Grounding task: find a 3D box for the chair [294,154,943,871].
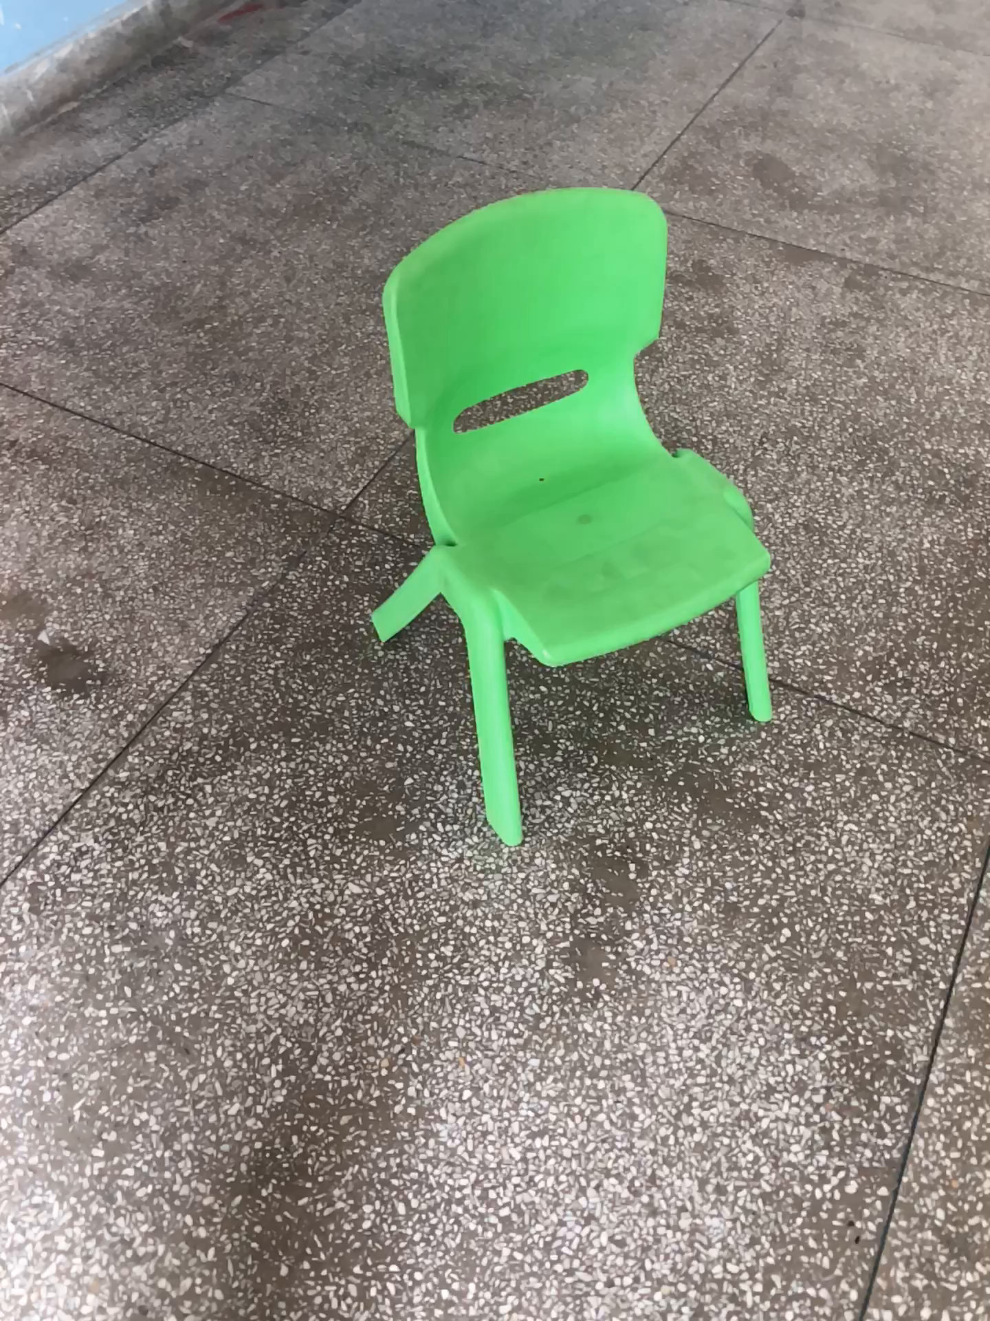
[{"bbox_3d":[0.083,-0.141,1.062,0.370,0.459,0.391,-24,55,-19],"label":"chair"}]
